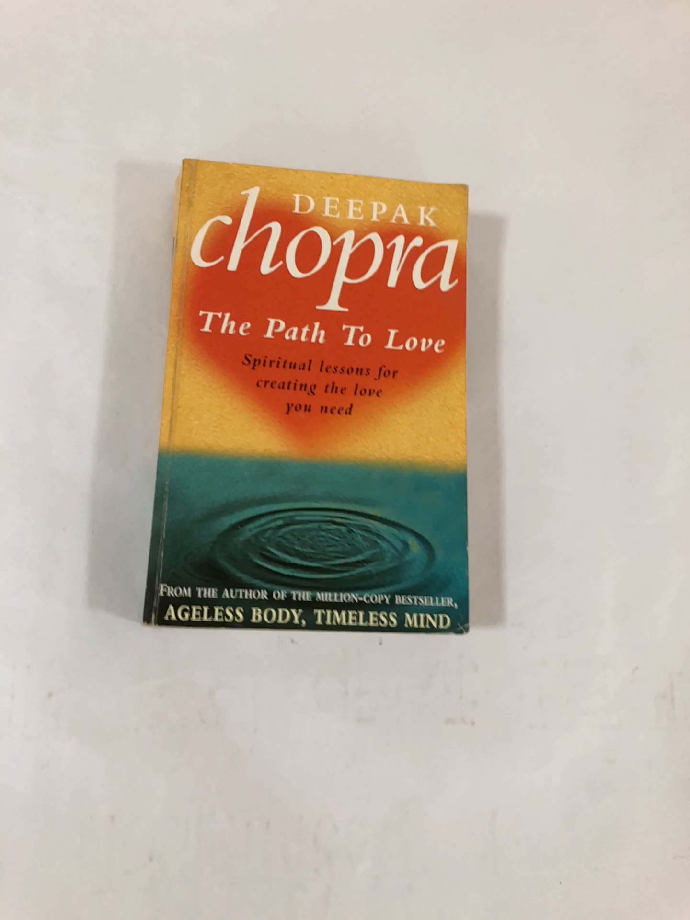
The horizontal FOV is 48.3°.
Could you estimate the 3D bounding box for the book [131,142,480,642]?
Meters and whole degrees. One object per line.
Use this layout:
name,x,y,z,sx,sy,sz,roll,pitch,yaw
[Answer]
book,-0.014,-0.027,0.328,0.130,0.040,0.200,4,76,-10
